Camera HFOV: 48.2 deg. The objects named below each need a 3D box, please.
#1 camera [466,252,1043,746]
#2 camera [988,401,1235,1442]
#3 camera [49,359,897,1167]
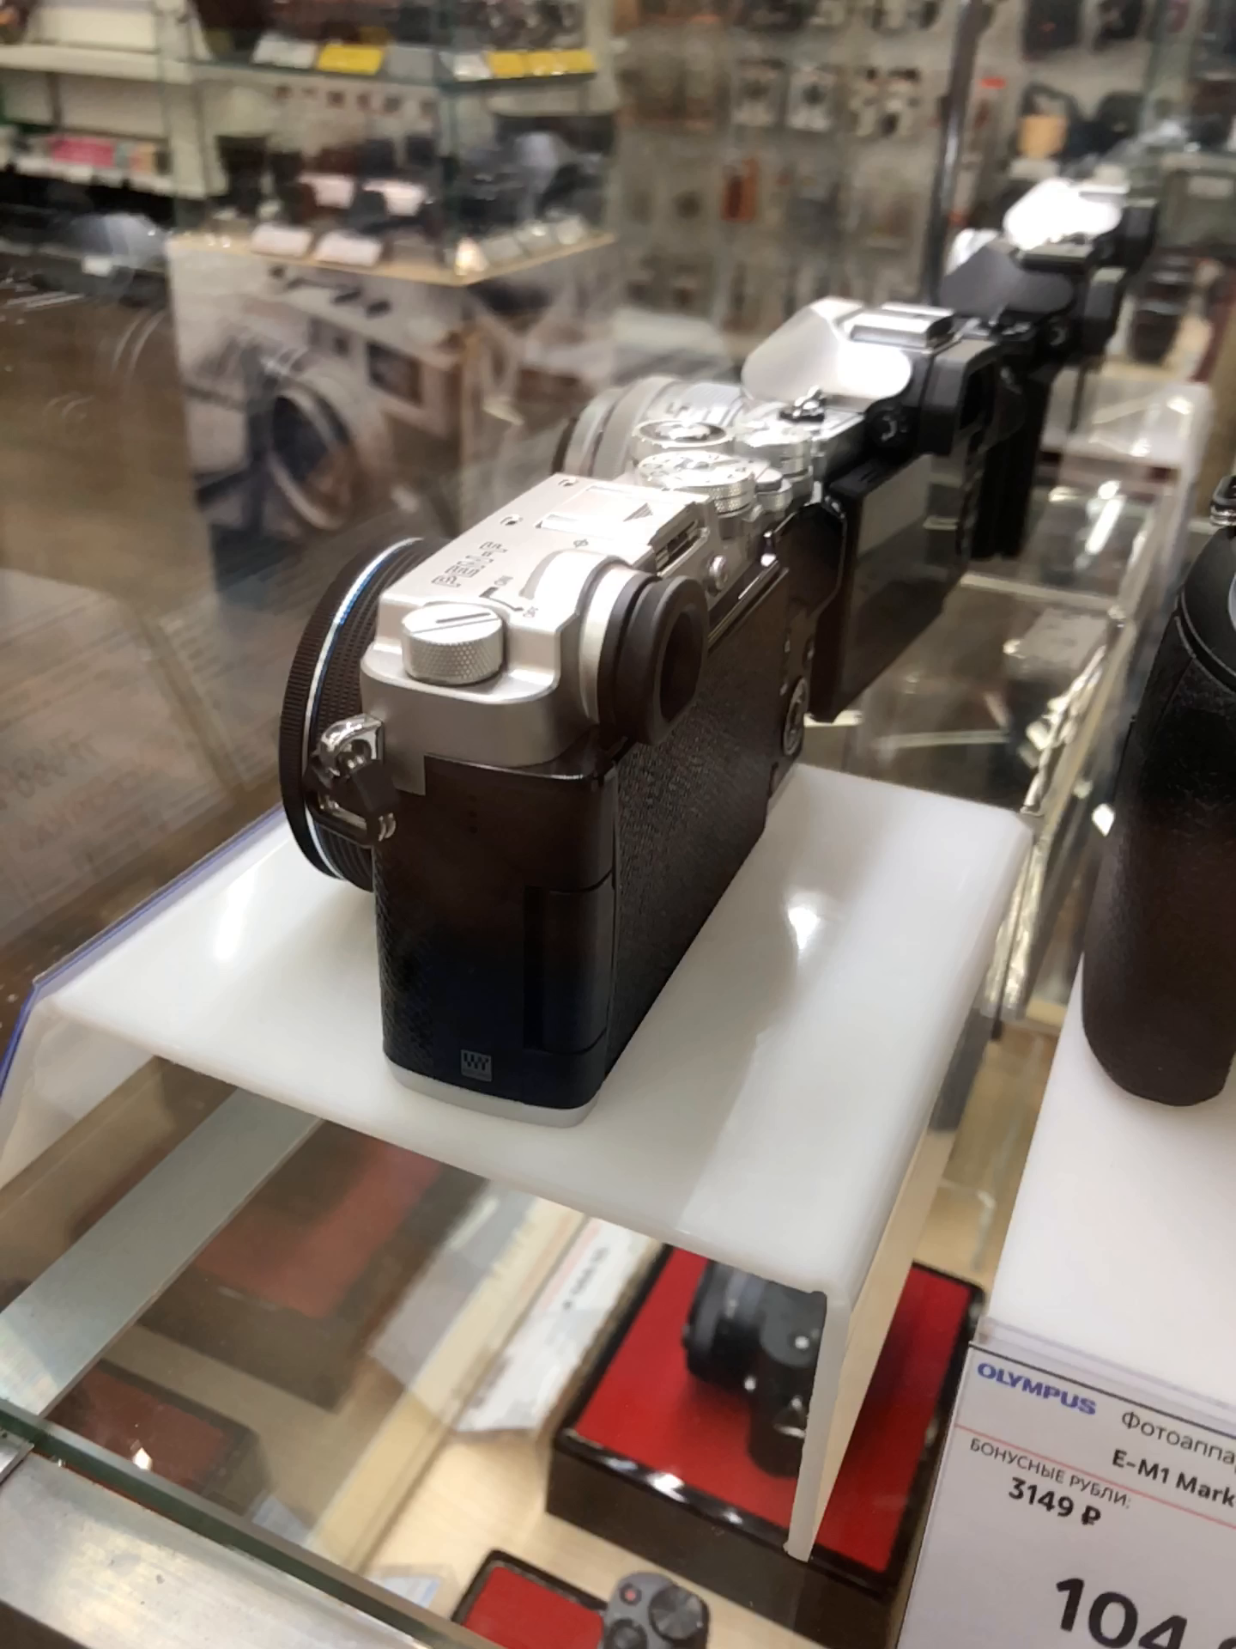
[{"bbox_3d":[0.038,-0.090,0.347,0.099,0.075,0.128,16,33,20],"label":"camera"},{"bbox_3d":[0.128,0.000,0.184,0.127,0.075,0.084,15,33,19],"label":"camera"},{"bbox_3d":[-0.012,-0.023,0.227,0.076,0.070,0.128,15,33,19],"label":"camera"}]
